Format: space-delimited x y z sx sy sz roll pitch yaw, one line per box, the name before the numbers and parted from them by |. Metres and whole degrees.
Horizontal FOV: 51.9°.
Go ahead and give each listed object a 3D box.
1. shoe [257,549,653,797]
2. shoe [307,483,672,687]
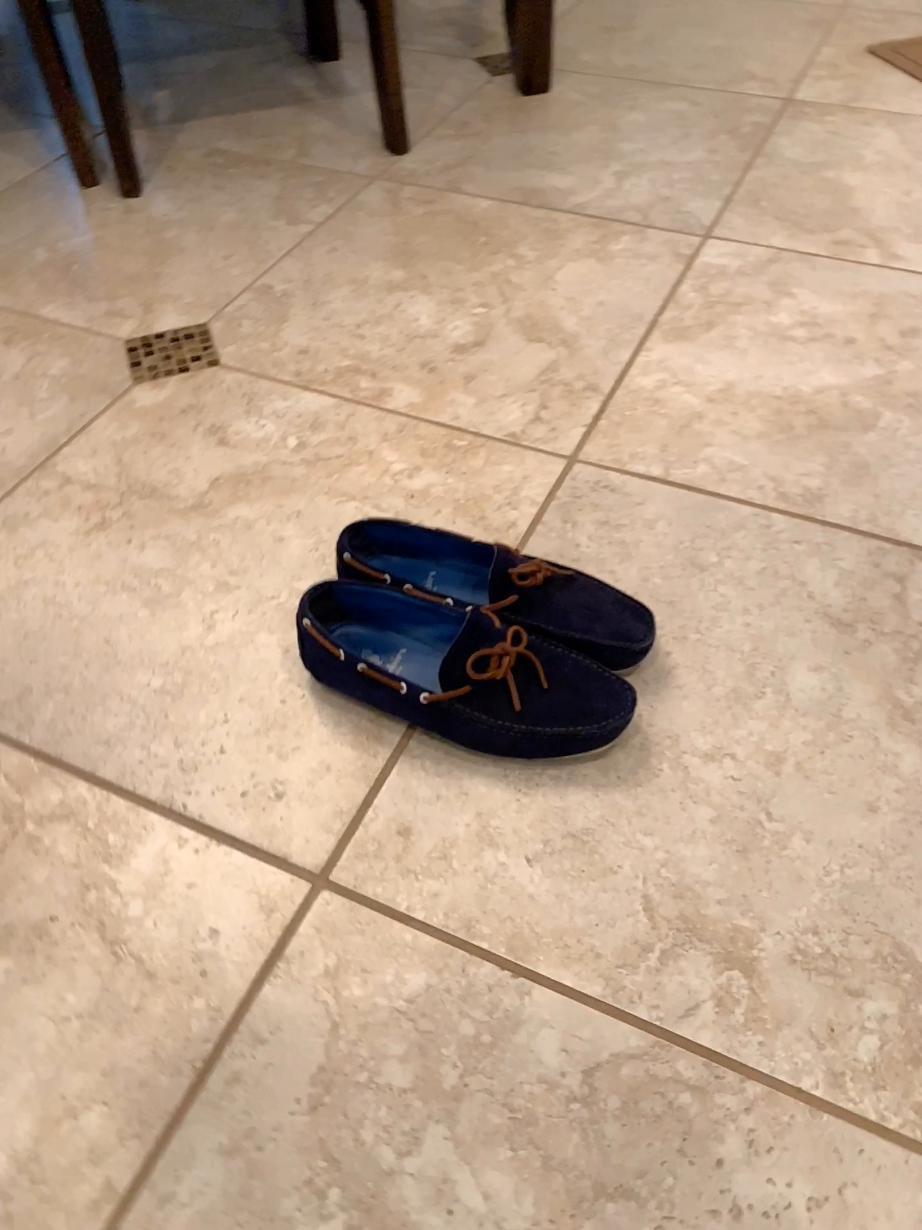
shoe | -0.005 0.040 0.739 0.281 0.074 0.099 15 50 15
shoe | 0.025 -0.029 0.798 0.281 0.074 0.099 11 49 12
